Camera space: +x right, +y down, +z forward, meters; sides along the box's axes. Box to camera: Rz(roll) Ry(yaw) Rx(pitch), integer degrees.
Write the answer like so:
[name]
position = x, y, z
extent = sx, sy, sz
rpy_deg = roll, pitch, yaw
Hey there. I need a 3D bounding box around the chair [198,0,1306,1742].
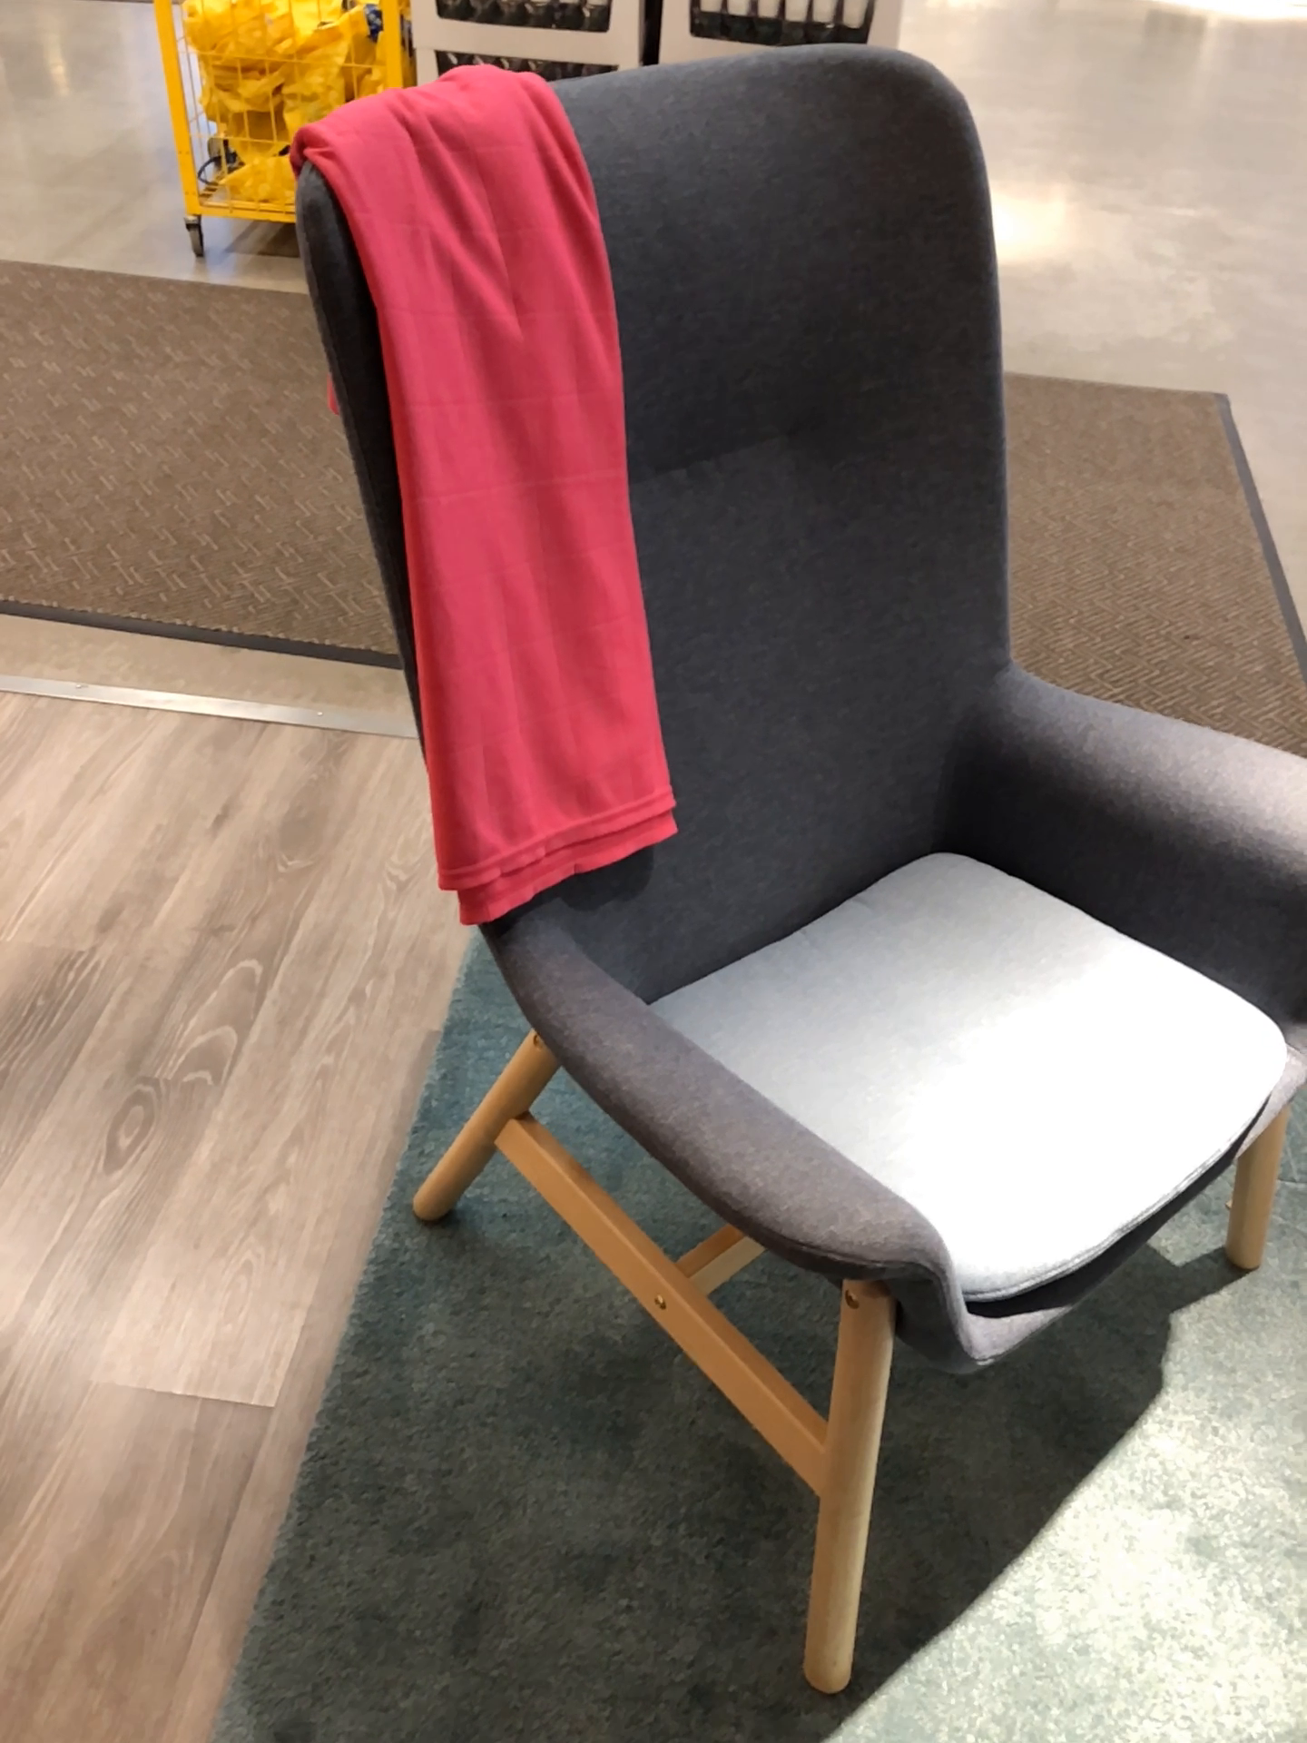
[chair]
position = 0.253, -0.042, 1.134
extent = 0.792, 0.996, 0.702
rpy_deg = -28, 49, -32
